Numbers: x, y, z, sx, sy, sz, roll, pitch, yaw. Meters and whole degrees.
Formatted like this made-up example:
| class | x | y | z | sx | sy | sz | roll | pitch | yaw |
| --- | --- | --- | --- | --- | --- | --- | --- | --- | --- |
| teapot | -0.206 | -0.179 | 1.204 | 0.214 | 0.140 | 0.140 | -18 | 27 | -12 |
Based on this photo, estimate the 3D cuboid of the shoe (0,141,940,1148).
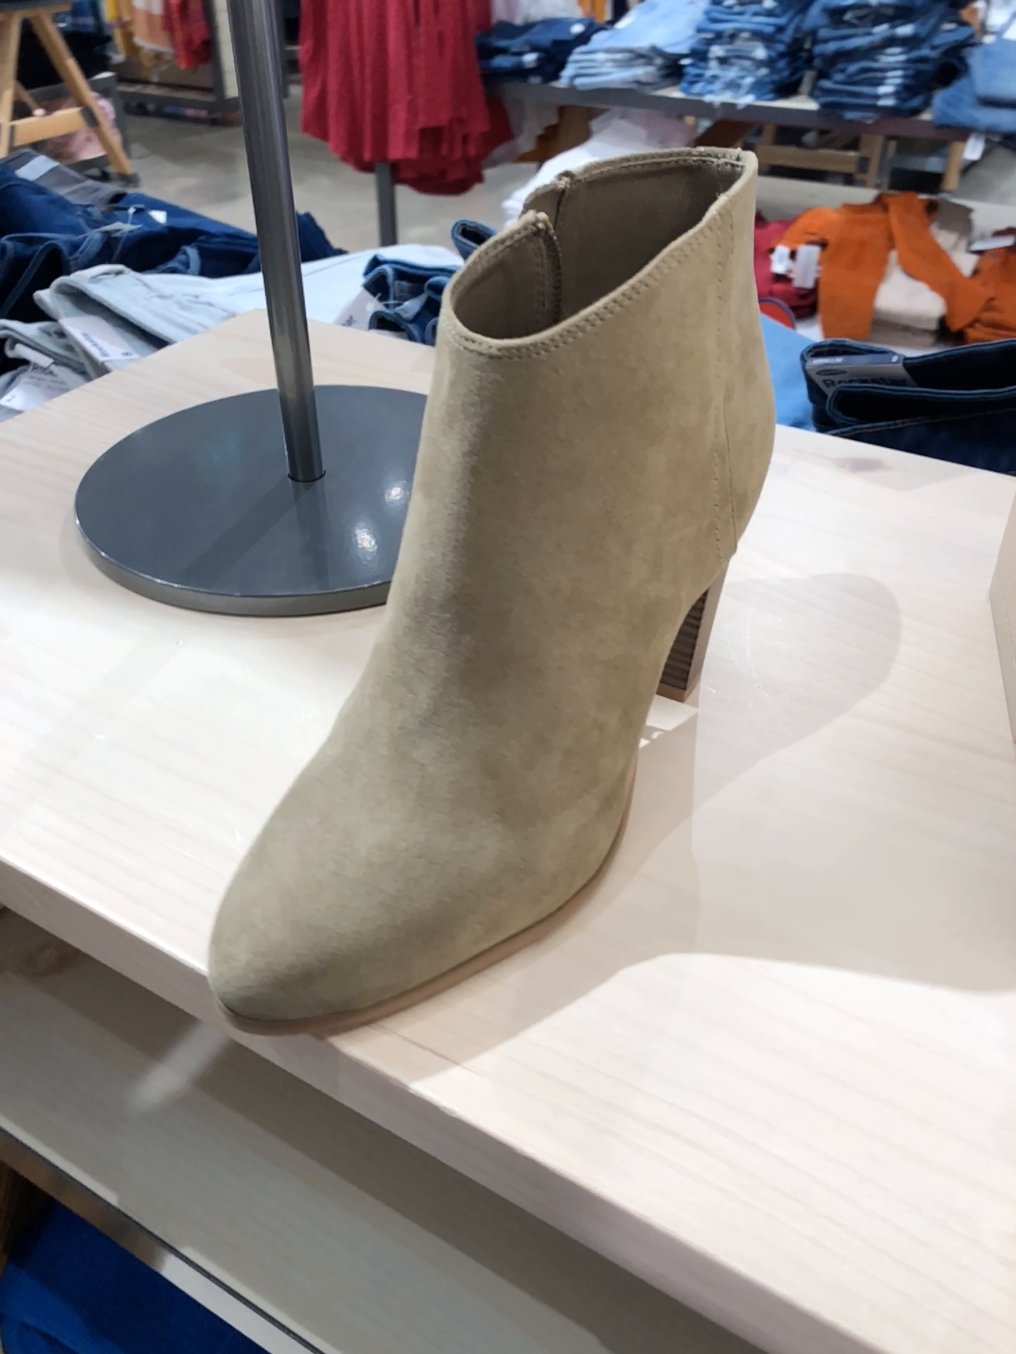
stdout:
| class | x | y | z | sx | sy | sz | roll | pitch | yaw |
| --- | --- | --- | --- | --- | --- | --- | --- | --- | --- |
| shoe | 0.012 | -0.030 | 0.307 | 0.090 | 0.169 | 0.231 | 25 | 43 | 29 |
